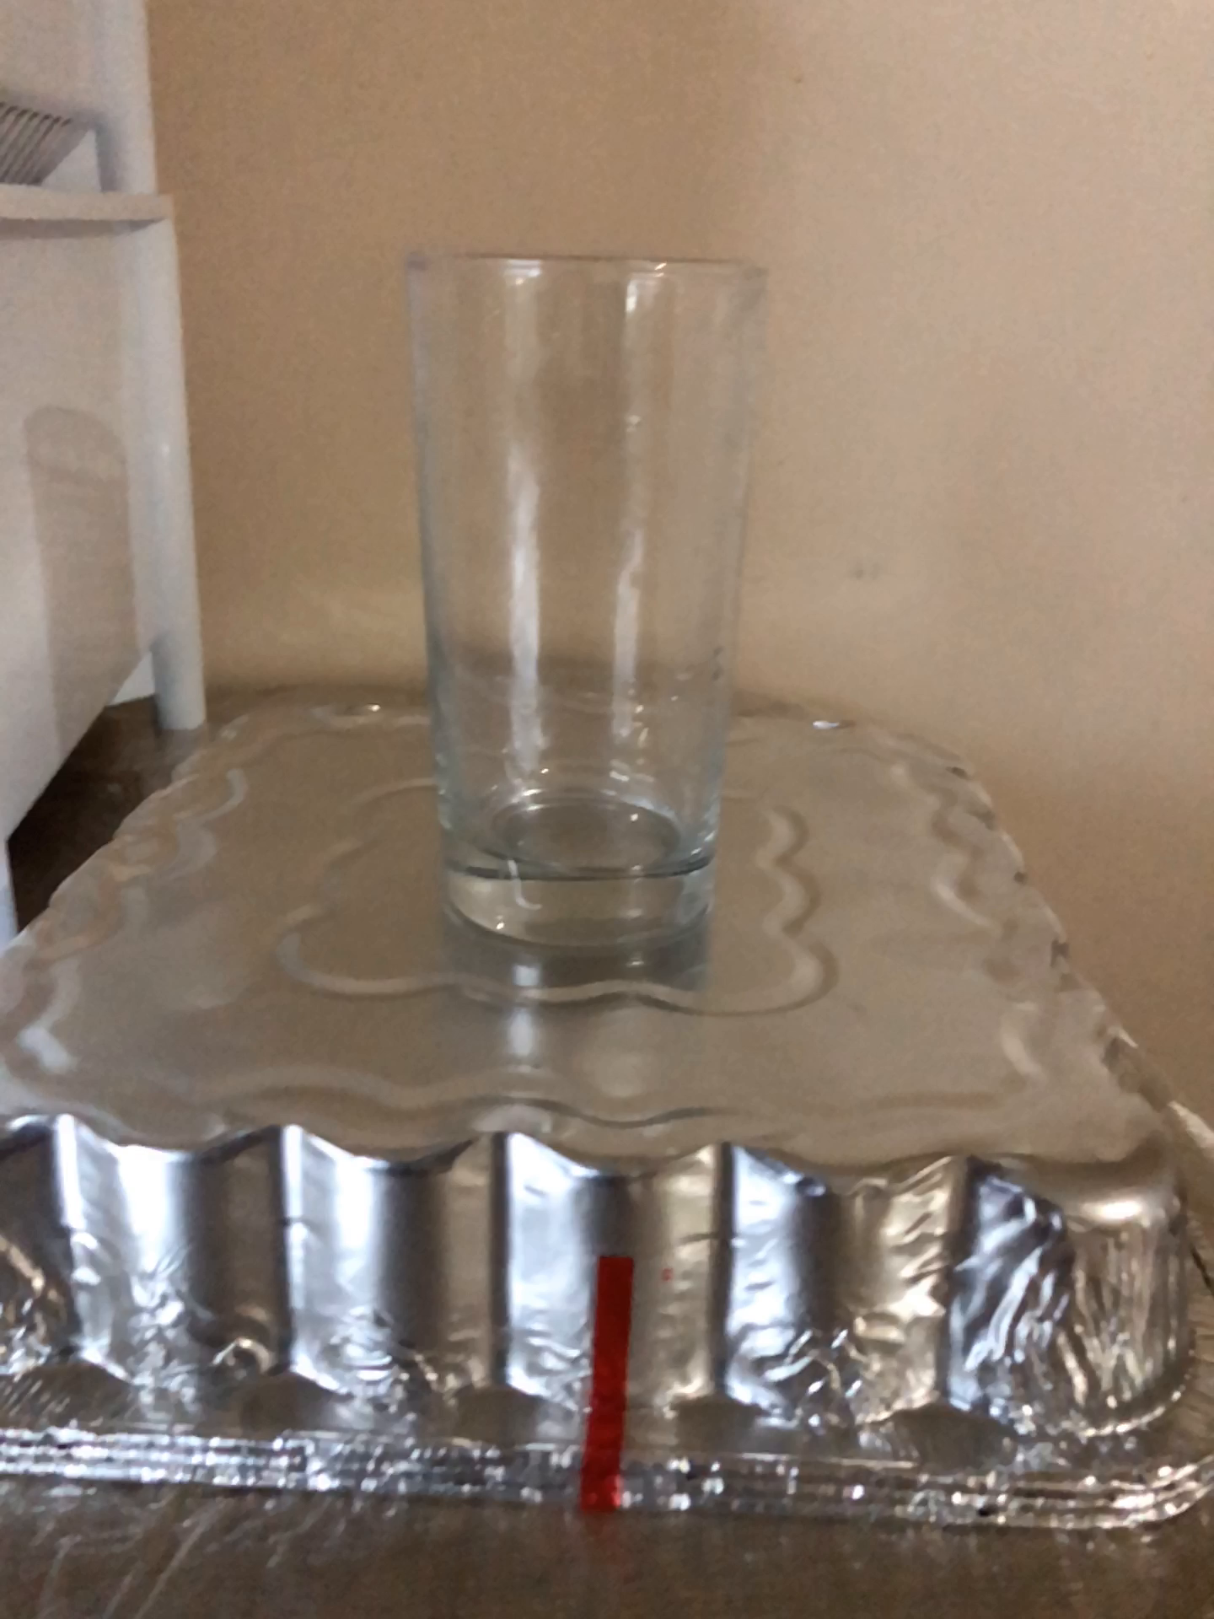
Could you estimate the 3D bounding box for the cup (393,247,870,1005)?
[{"bbox_3d":[-0.001,-0.036,0.248,0.060,0.119,0.060,3,22,-1],"label":"cup"}]
